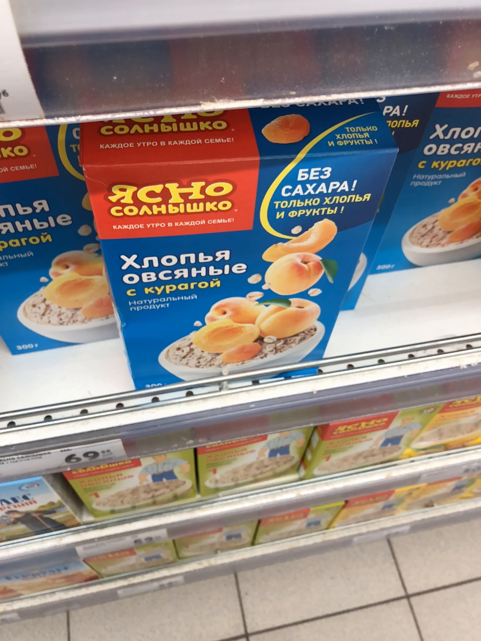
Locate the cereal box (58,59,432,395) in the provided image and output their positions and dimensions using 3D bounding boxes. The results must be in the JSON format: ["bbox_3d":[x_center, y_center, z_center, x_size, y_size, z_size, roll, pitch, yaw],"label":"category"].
[{"bbox_3d":[-0.003,-0.034,0.313,0.150,0.209,0.050,-6,57,-7],"label":"cereal box"}]
